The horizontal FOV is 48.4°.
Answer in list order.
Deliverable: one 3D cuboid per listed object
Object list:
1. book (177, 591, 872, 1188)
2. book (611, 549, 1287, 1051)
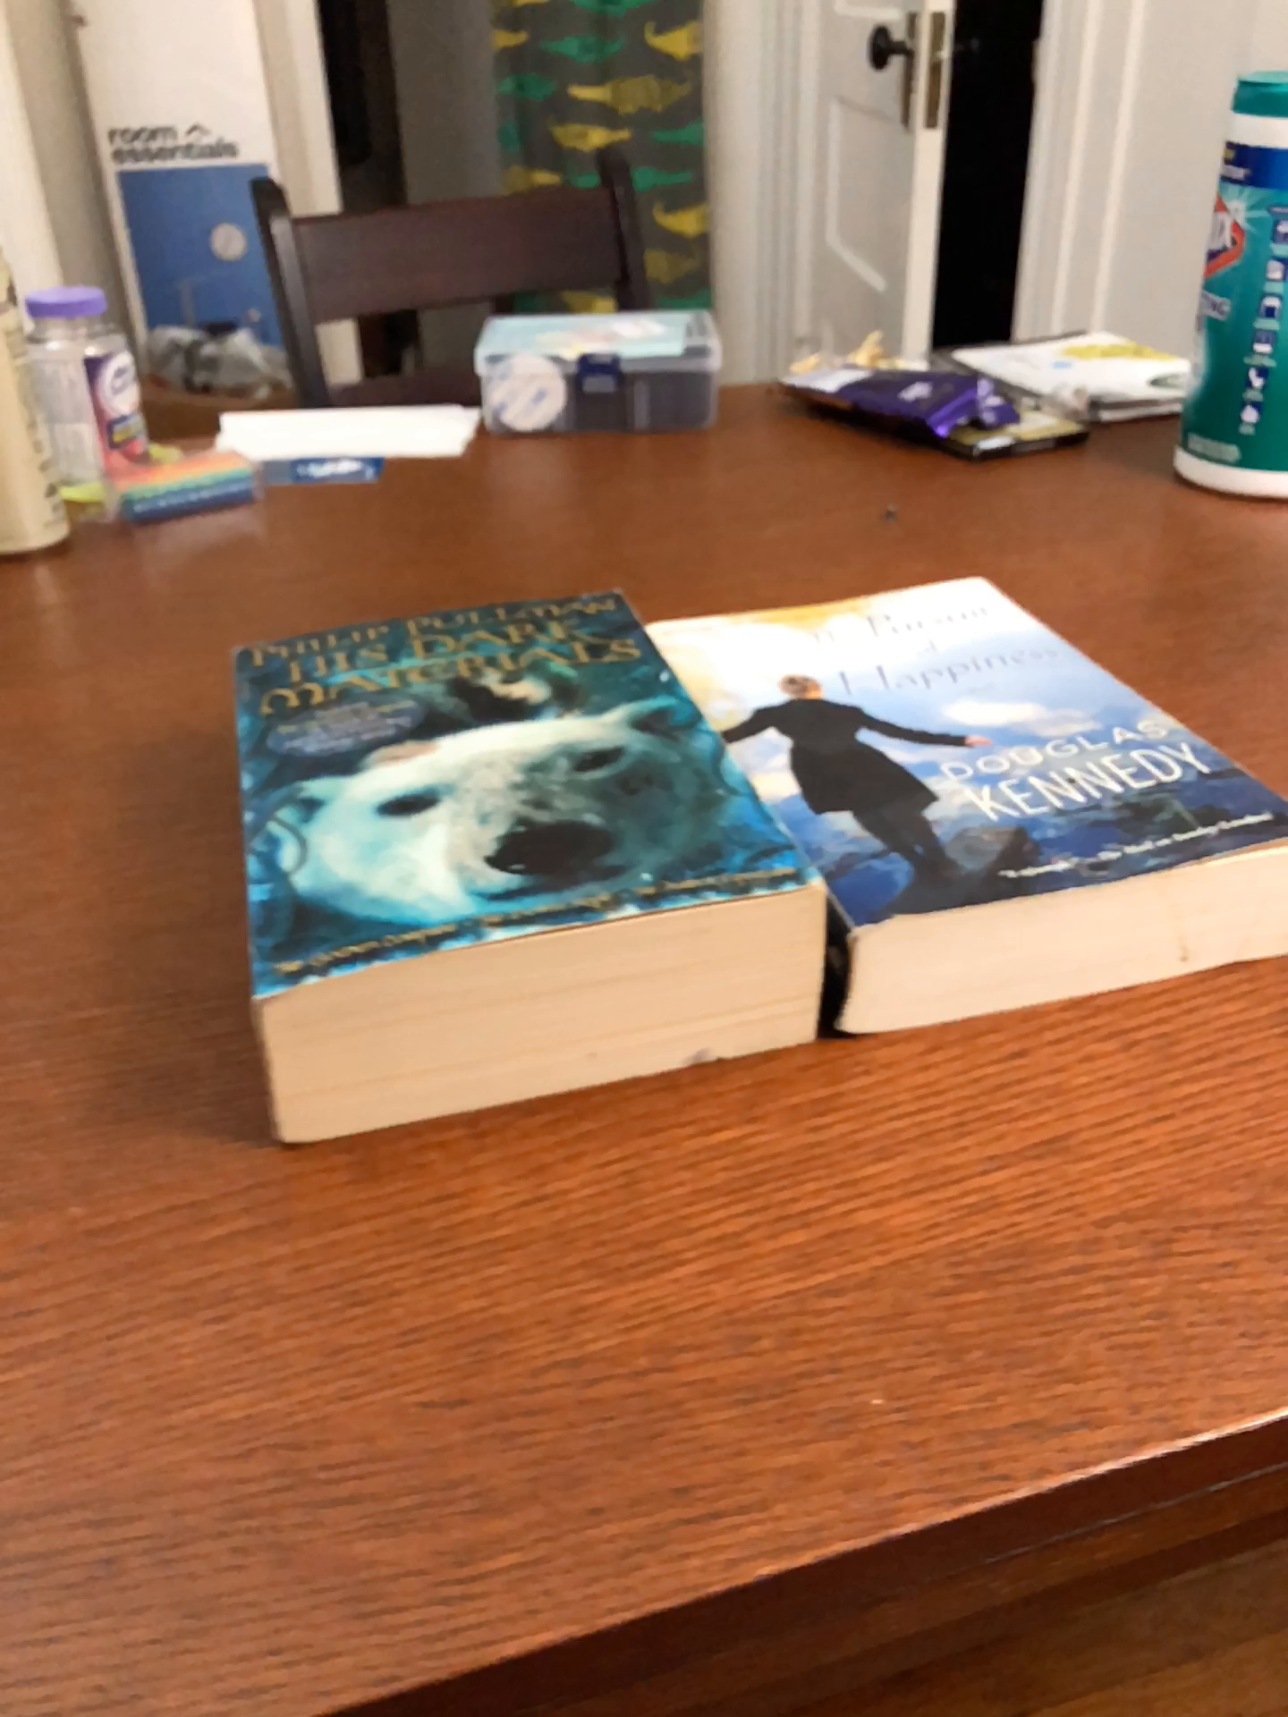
[{"bbox_3d":[-0.058,-0.013,0.481,0.180,0.050,0.251,-9,32,-12],"label":"book"},{"bbox_3d":[0.107,-0.041,0.509,0.180,0.040,0.251,-9,32,-12],"label":"book"}]
